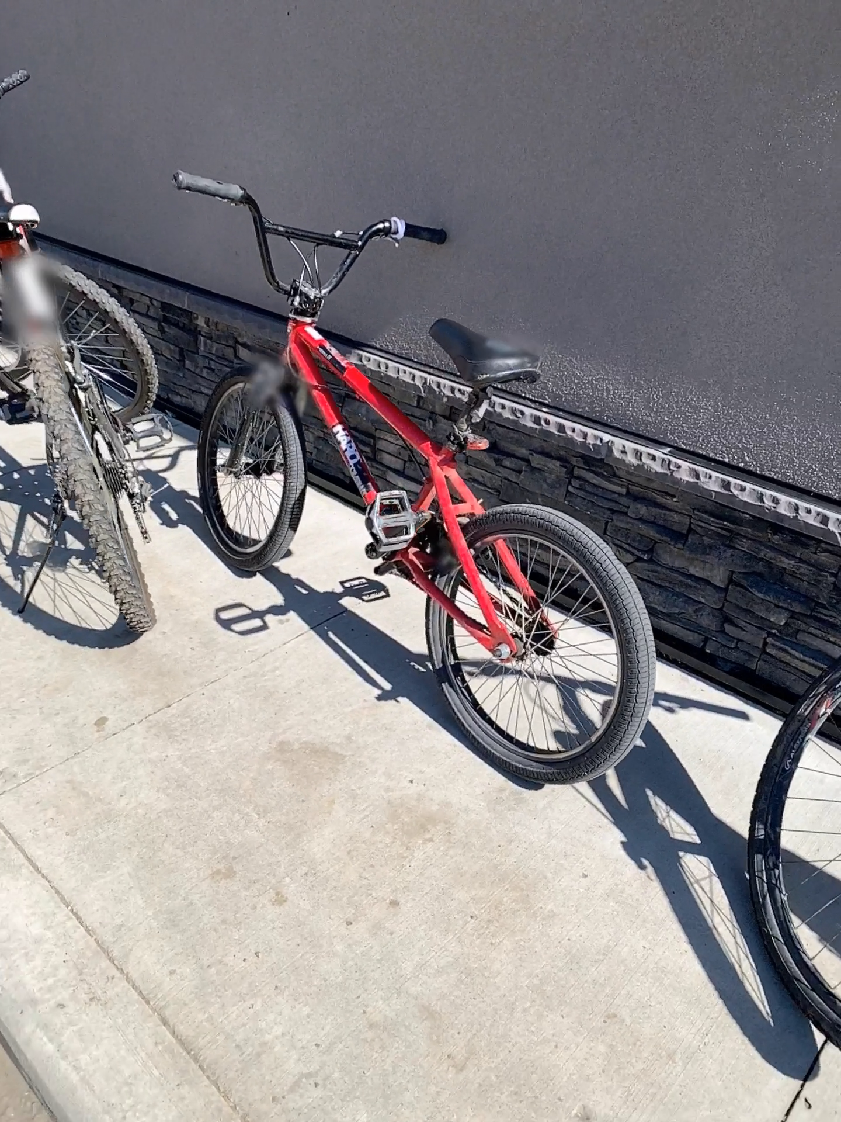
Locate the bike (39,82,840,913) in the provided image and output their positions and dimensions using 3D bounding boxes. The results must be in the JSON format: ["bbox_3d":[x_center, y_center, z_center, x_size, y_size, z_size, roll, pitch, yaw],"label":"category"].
[{"bbox_3d":[-0.032,-0.298,1.697,0.775,0.908,1.316,-21,41,-37],"label":"bike"}]
